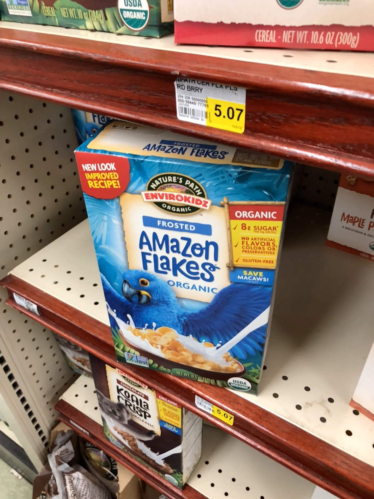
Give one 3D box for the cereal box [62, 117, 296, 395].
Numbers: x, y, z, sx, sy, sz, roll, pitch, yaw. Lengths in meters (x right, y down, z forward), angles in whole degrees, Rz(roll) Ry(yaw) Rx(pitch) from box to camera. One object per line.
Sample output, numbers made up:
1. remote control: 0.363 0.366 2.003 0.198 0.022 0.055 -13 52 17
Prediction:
1. cereal box: 0.001 0.020 0.387 0.160 0.259 0.060 9 42 15
